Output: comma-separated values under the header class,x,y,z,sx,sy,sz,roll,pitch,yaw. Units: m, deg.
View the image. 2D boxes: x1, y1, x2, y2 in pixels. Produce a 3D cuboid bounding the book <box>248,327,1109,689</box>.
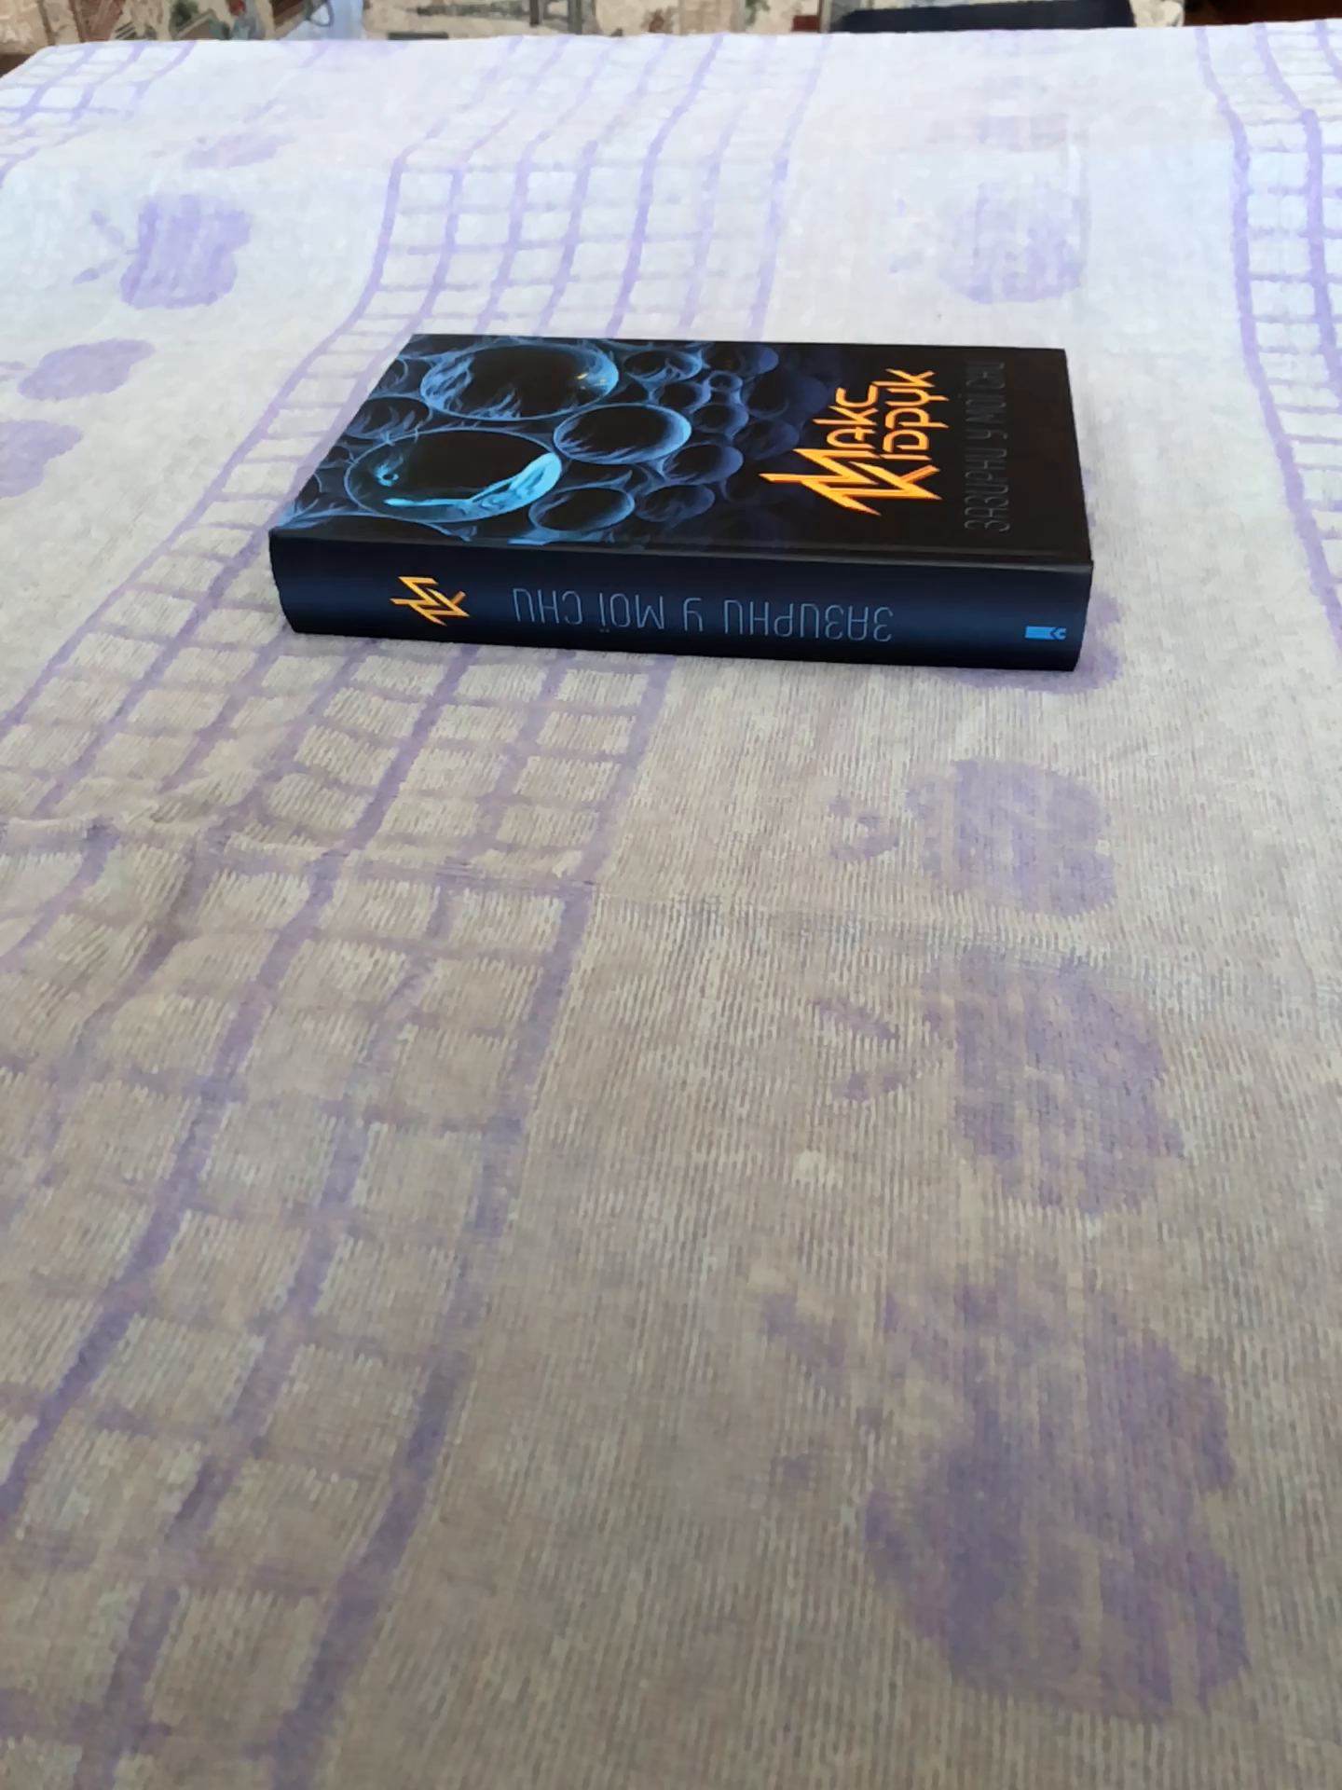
class,x,y,z,sx,sy,sz,roll,pitch,yaw
book,0.009,-0.121,0.437,0.220,0.035,0.141,5,41,8
